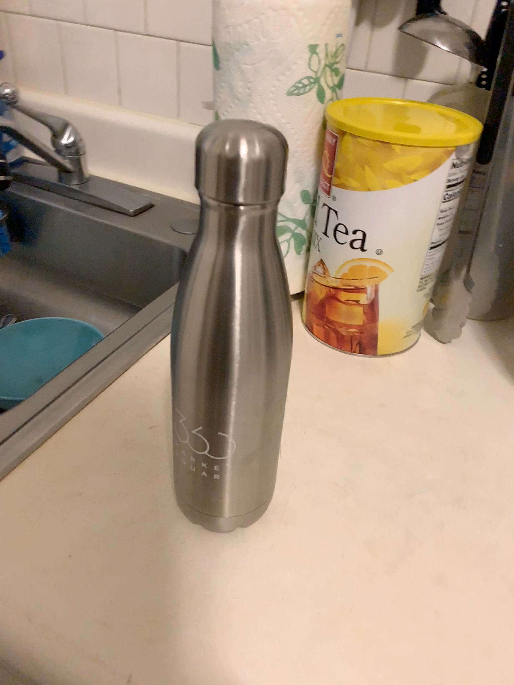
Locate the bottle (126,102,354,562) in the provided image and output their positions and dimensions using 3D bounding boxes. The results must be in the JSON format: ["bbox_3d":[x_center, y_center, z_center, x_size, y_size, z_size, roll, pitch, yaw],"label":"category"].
[{"bbox_3d":[-0.015,0.009,0.300,0.070,0.248,0.070,4,36,-3],"label":"bottle"}]
